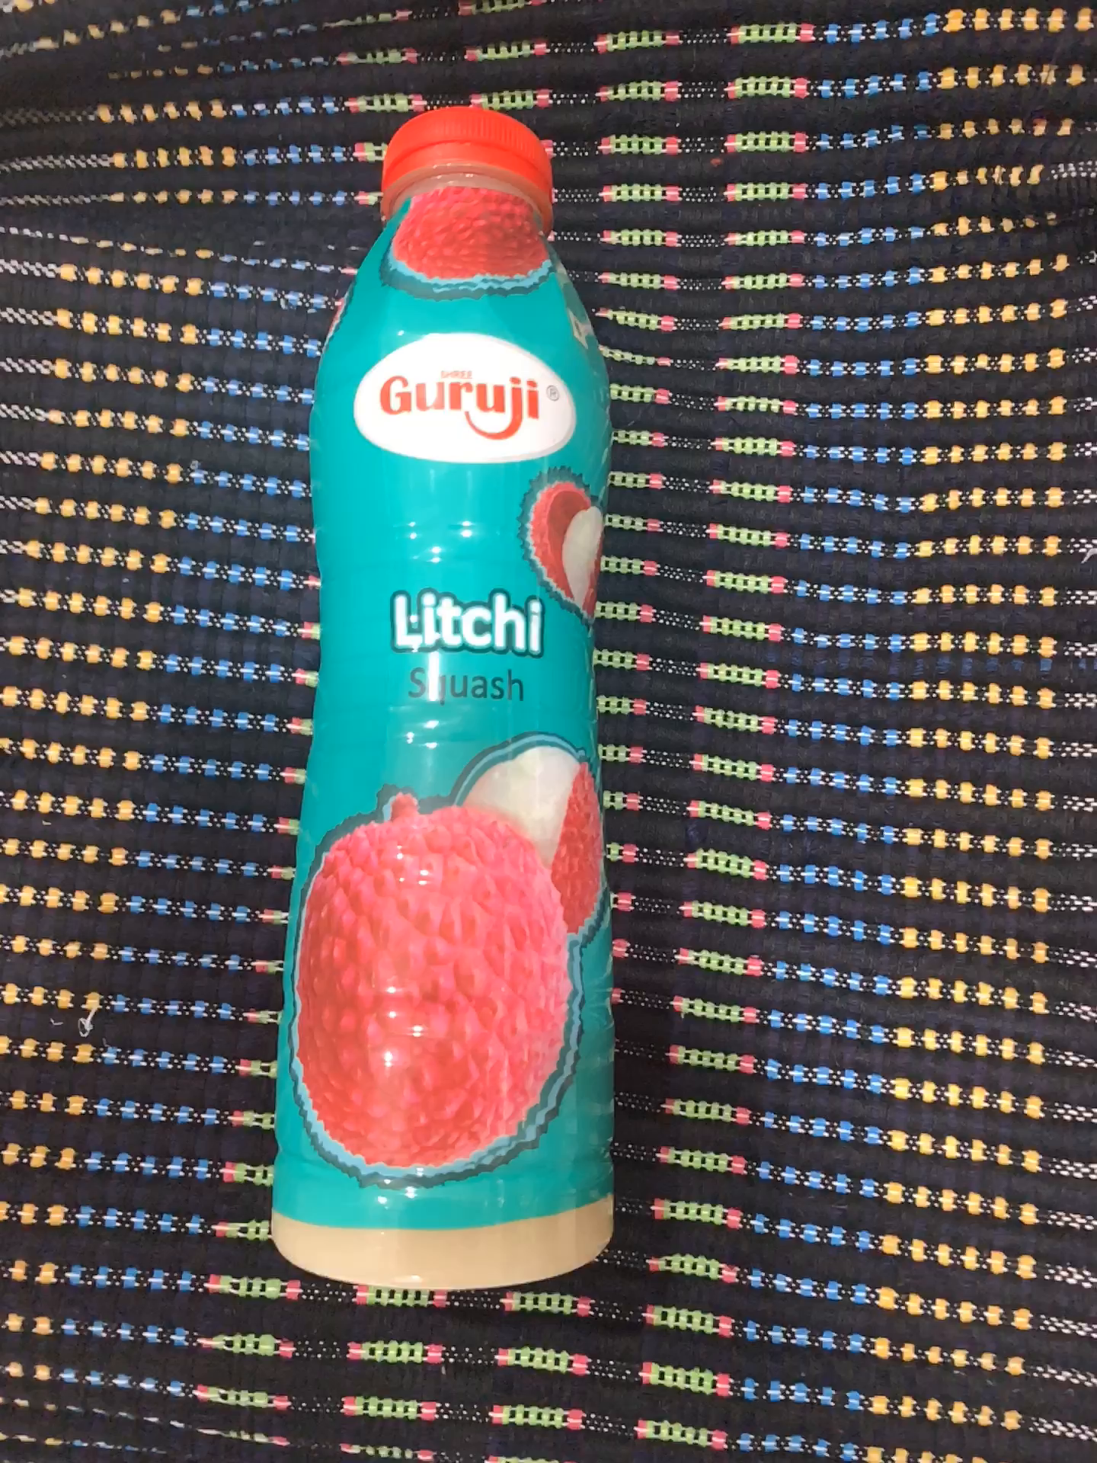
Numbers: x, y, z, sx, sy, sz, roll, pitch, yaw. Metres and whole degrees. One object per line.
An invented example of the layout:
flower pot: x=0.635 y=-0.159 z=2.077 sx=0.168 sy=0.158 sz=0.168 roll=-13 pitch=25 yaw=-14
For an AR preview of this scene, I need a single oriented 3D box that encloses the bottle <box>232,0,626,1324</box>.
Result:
bottle: x=-0.026 y=-0.023 z=0.272 sx=0.070 sy=0.080 sz=0.280 roll=1 pitch=77 yaw=-6
